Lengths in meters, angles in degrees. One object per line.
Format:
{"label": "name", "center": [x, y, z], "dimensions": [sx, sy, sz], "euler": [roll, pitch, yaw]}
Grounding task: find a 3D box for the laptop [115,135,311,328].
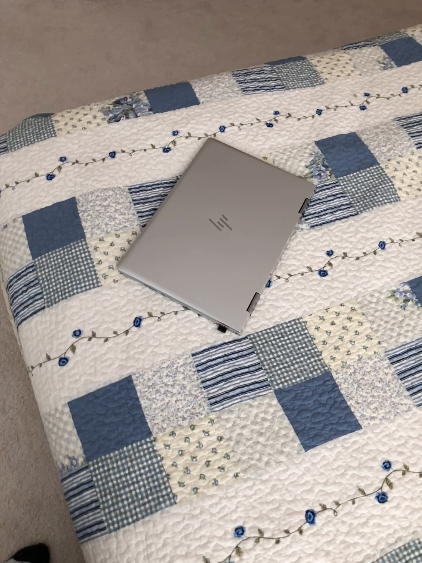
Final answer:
{"label": "laptop", "center": [0.020, -0.122, 0.949], "dimensions": [0.256, 0.011, 0.386], "euler": [27, 62, 5]}
